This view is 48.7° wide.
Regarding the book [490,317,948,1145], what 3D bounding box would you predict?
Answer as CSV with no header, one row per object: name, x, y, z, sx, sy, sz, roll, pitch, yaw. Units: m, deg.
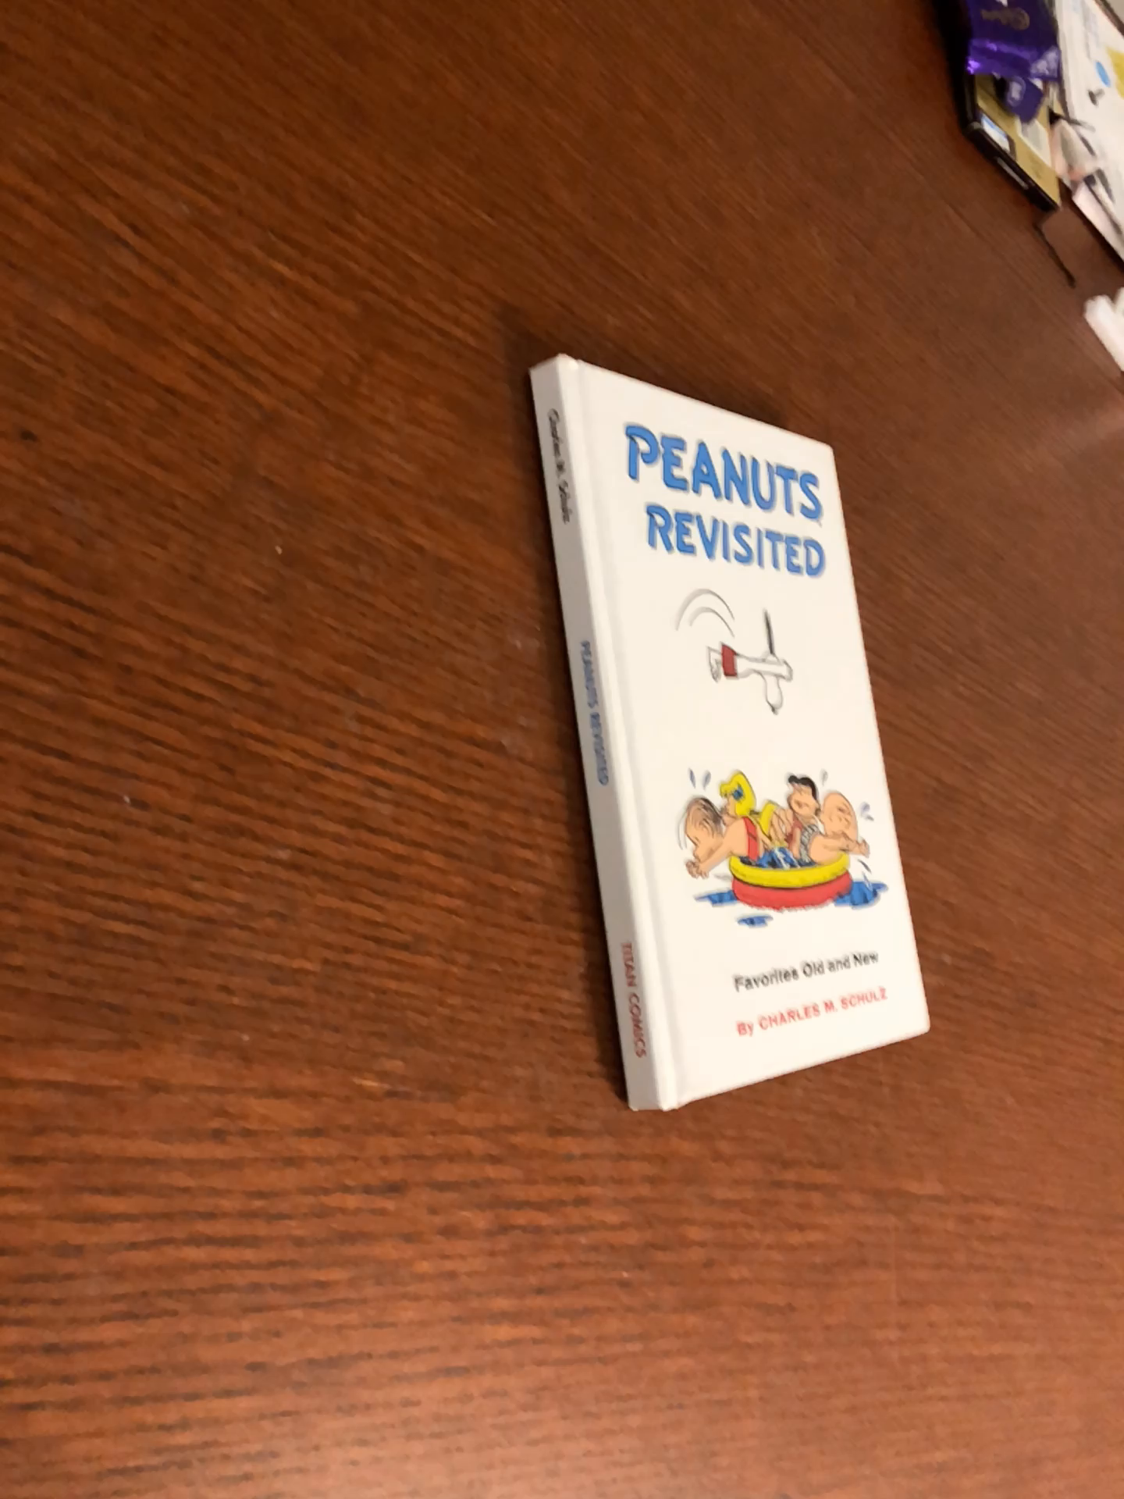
book,0.054,-0.007,0.383,0.151,0.020,0.220,1,78,-45
